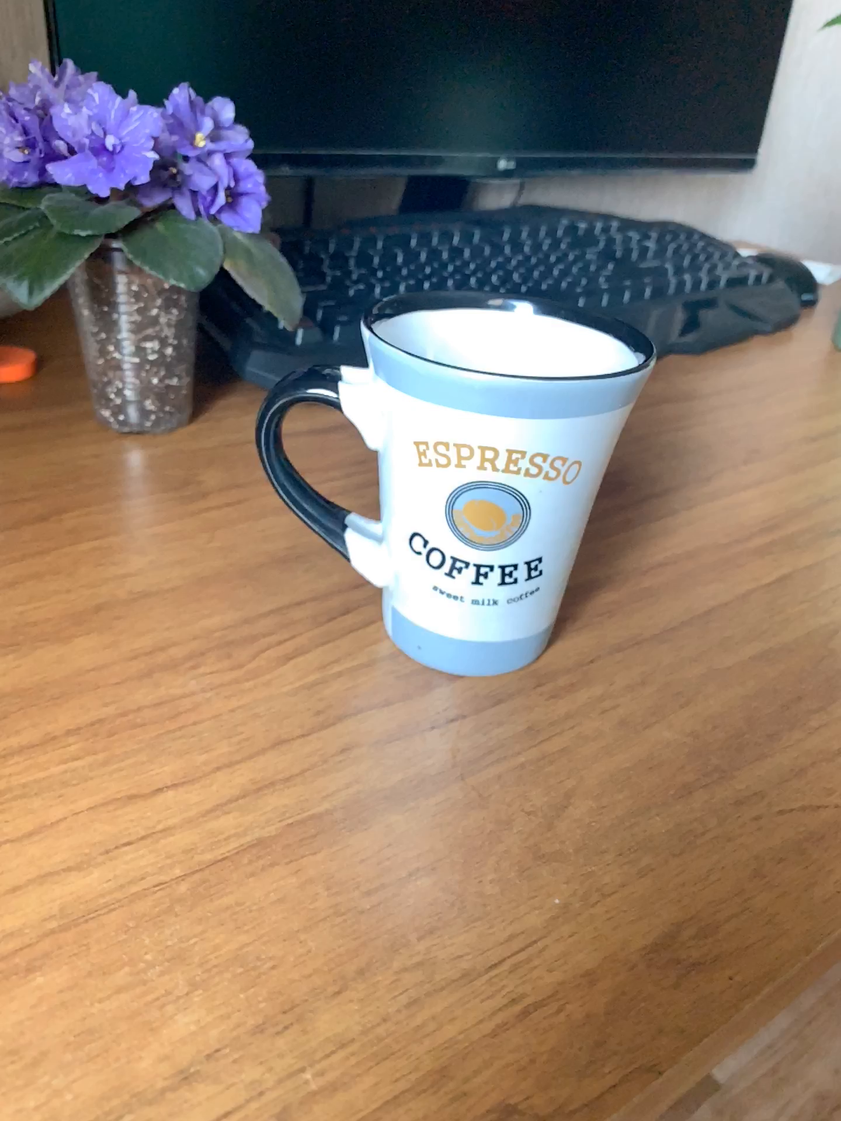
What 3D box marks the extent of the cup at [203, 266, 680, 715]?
[{"bbox_3d":[0.004,-0.023,0.256,0.110,0.100,0.070,6,30,3],"label":"cup"}]
